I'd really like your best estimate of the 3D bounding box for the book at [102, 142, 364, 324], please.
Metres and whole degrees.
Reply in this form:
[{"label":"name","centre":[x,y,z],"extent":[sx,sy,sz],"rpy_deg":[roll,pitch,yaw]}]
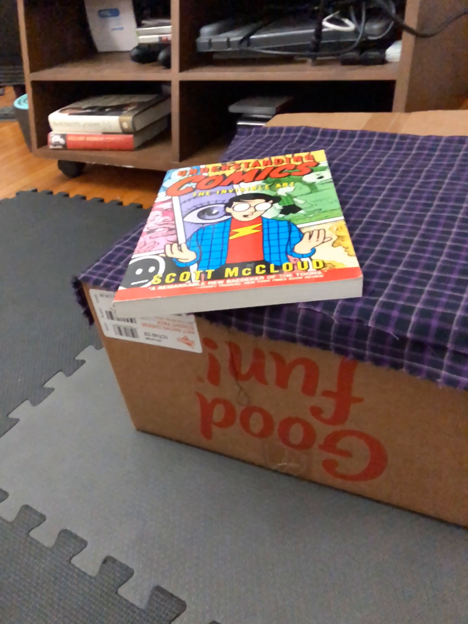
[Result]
[{"label":"book","centre":[0.004,-0.086,0.447],"extent":[0.170,0.020,0.272],"rpy_deg":[-5,35,6]}]
